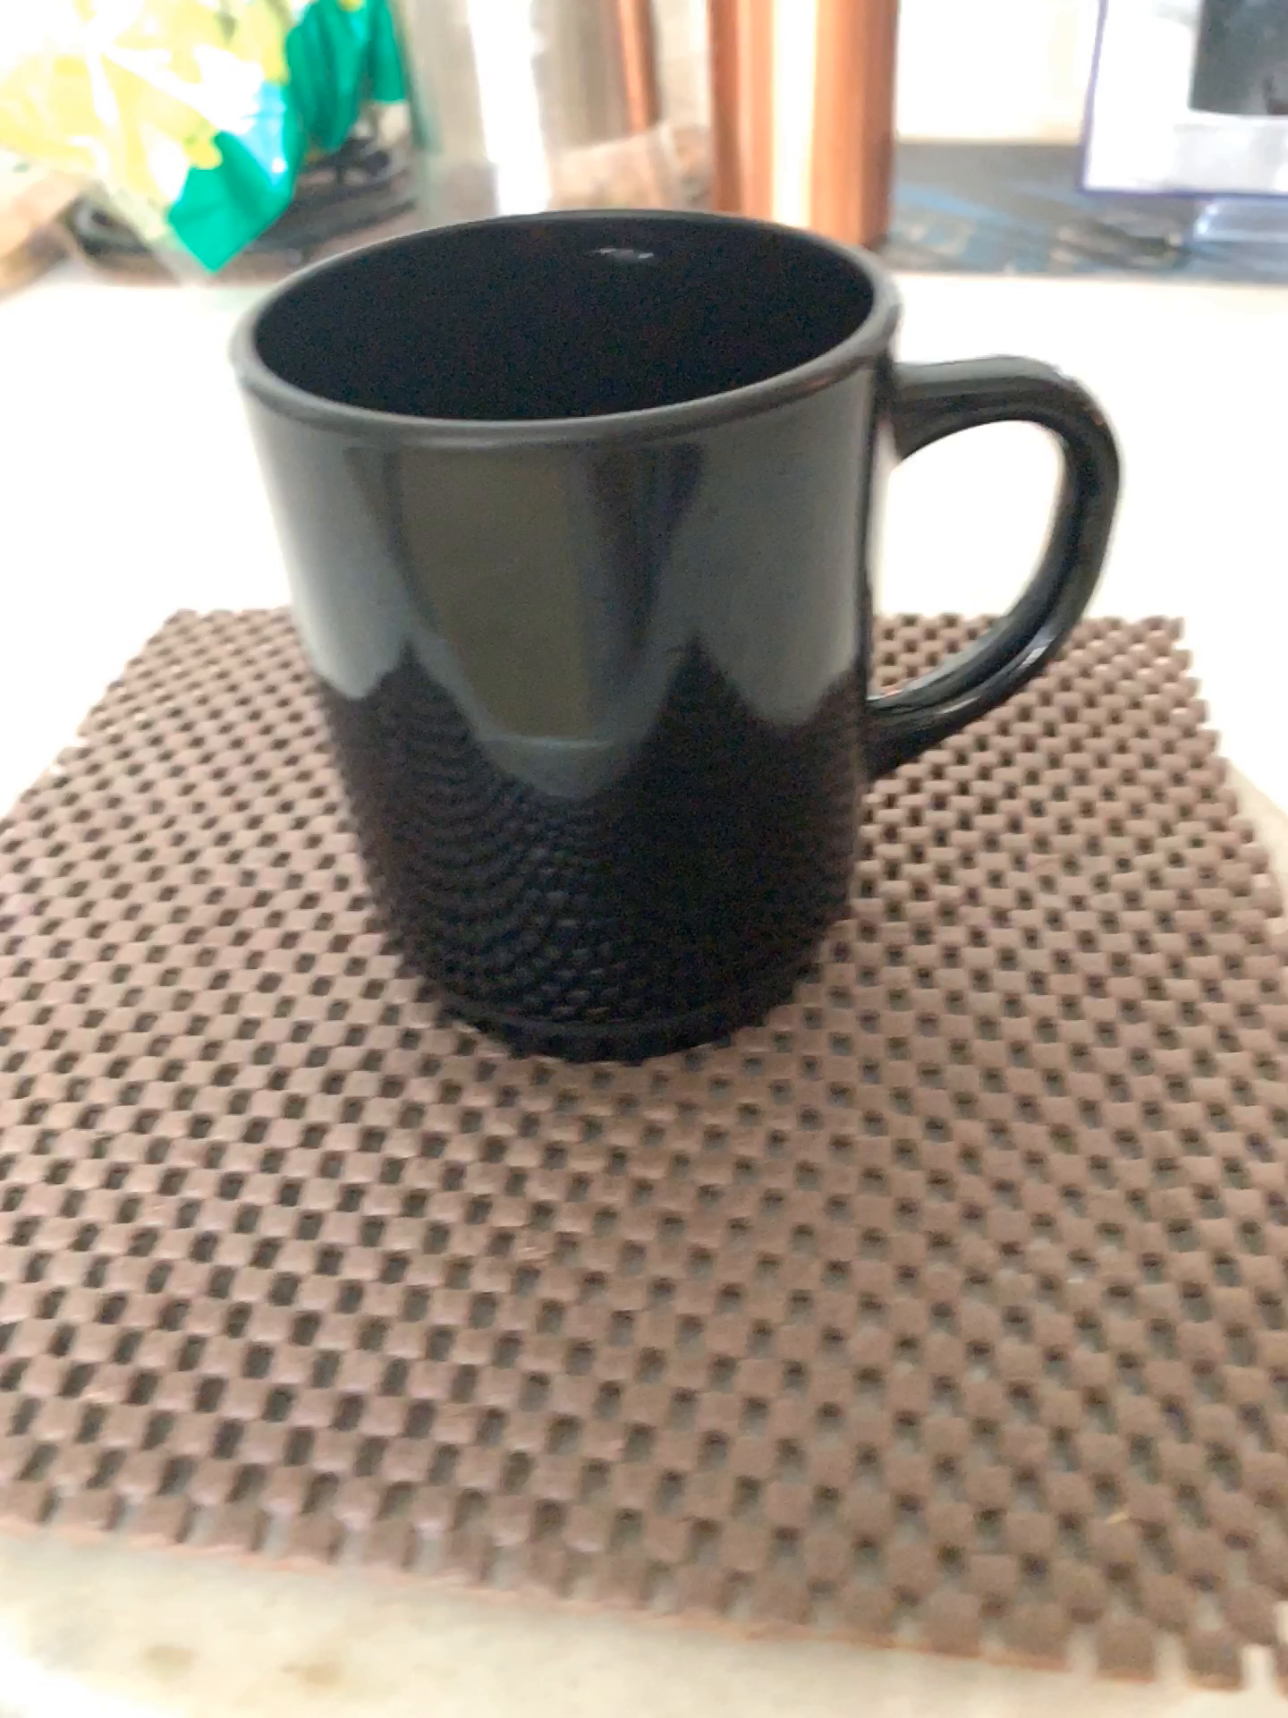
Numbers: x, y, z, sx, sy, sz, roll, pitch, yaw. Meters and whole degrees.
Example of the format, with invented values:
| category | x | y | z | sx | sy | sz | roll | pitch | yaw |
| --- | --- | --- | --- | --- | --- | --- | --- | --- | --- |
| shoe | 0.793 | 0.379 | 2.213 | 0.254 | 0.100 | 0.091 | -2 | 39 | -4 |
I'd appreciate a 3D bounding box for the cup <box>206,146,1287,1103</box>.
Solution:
| category | x | y | z | sx | sy | sz | roll | pitch | yaw |
| --- | --- | --- | --- | --- | --- | --- | --- | --- | --- |
| cup | 0.007 | -0.033 | 0.174 | 0.100 | 0.080 | 0.077 | -10 | 40 | -7 |
